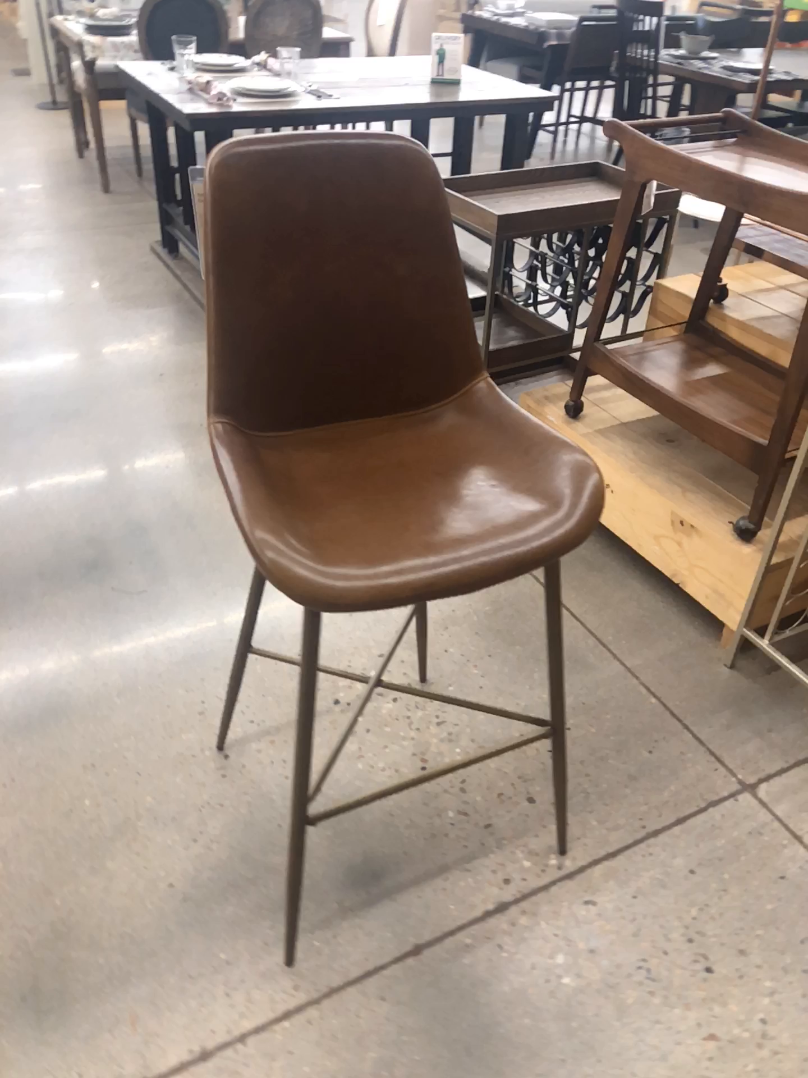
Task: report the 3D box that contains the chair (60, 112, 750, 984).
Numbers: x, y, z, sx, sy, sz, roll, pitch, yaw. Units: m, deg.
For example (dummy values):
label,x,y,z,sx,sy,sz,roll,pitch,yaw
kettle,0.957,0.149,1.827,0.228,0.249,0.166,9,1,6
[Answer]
label,x,y,z,sx,sy,sz,roll,pitch,yaw
chair,-0.064,0.001,1.339,0.603,1.055,0.612,-14,39,-22
